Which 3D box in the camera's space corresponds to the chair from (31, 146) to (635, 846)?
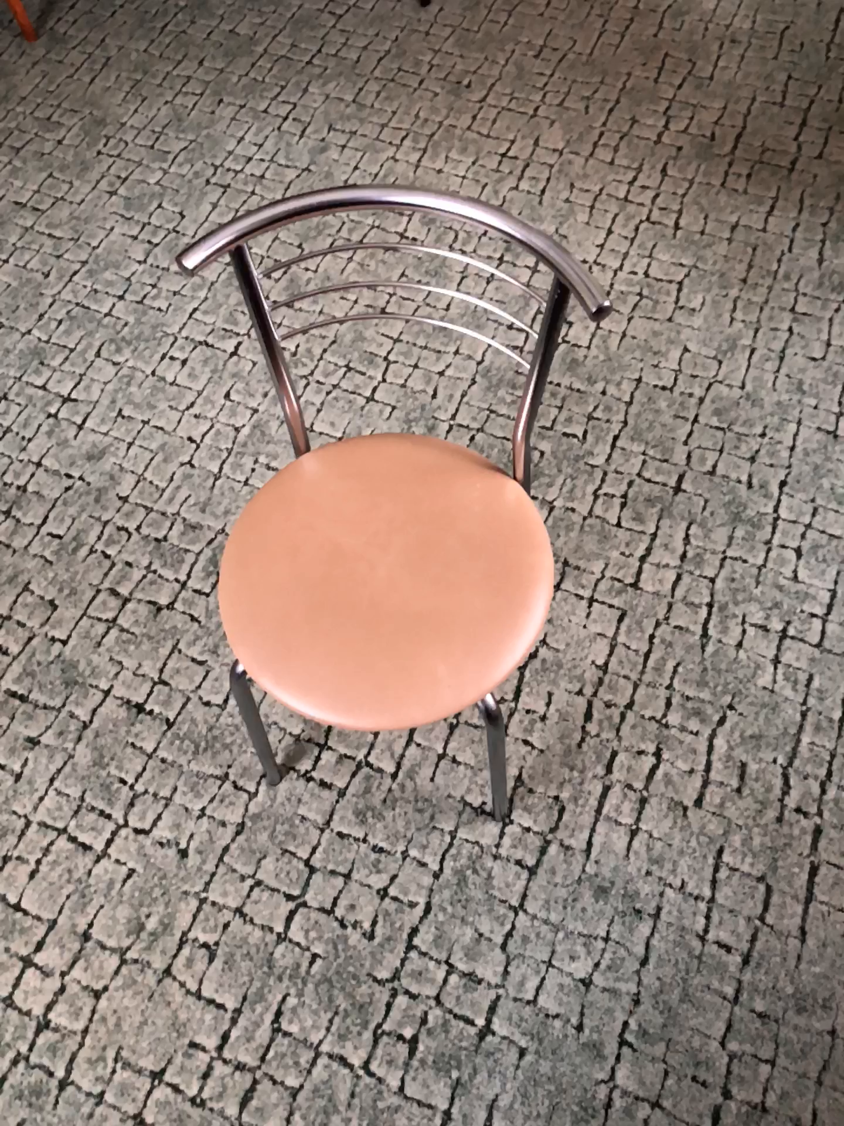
[{"bbox_3d":[-0.029,-0.007,1.162,0.443,0.805,0.452,8,60,8],"label":"chair"}]
